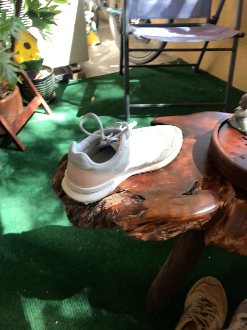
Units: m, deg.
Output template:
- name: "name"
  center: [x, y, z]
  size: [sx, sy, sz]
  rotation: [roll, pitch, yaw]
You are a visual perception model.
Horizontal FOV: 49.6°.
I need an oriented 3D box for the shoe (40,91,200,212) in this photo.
- name: "shoe"
  center: [0.001, -0.037, 0.494]
  size: [0.264, 0.091, 0.103]
  rotation: [-26, 47, -23]
